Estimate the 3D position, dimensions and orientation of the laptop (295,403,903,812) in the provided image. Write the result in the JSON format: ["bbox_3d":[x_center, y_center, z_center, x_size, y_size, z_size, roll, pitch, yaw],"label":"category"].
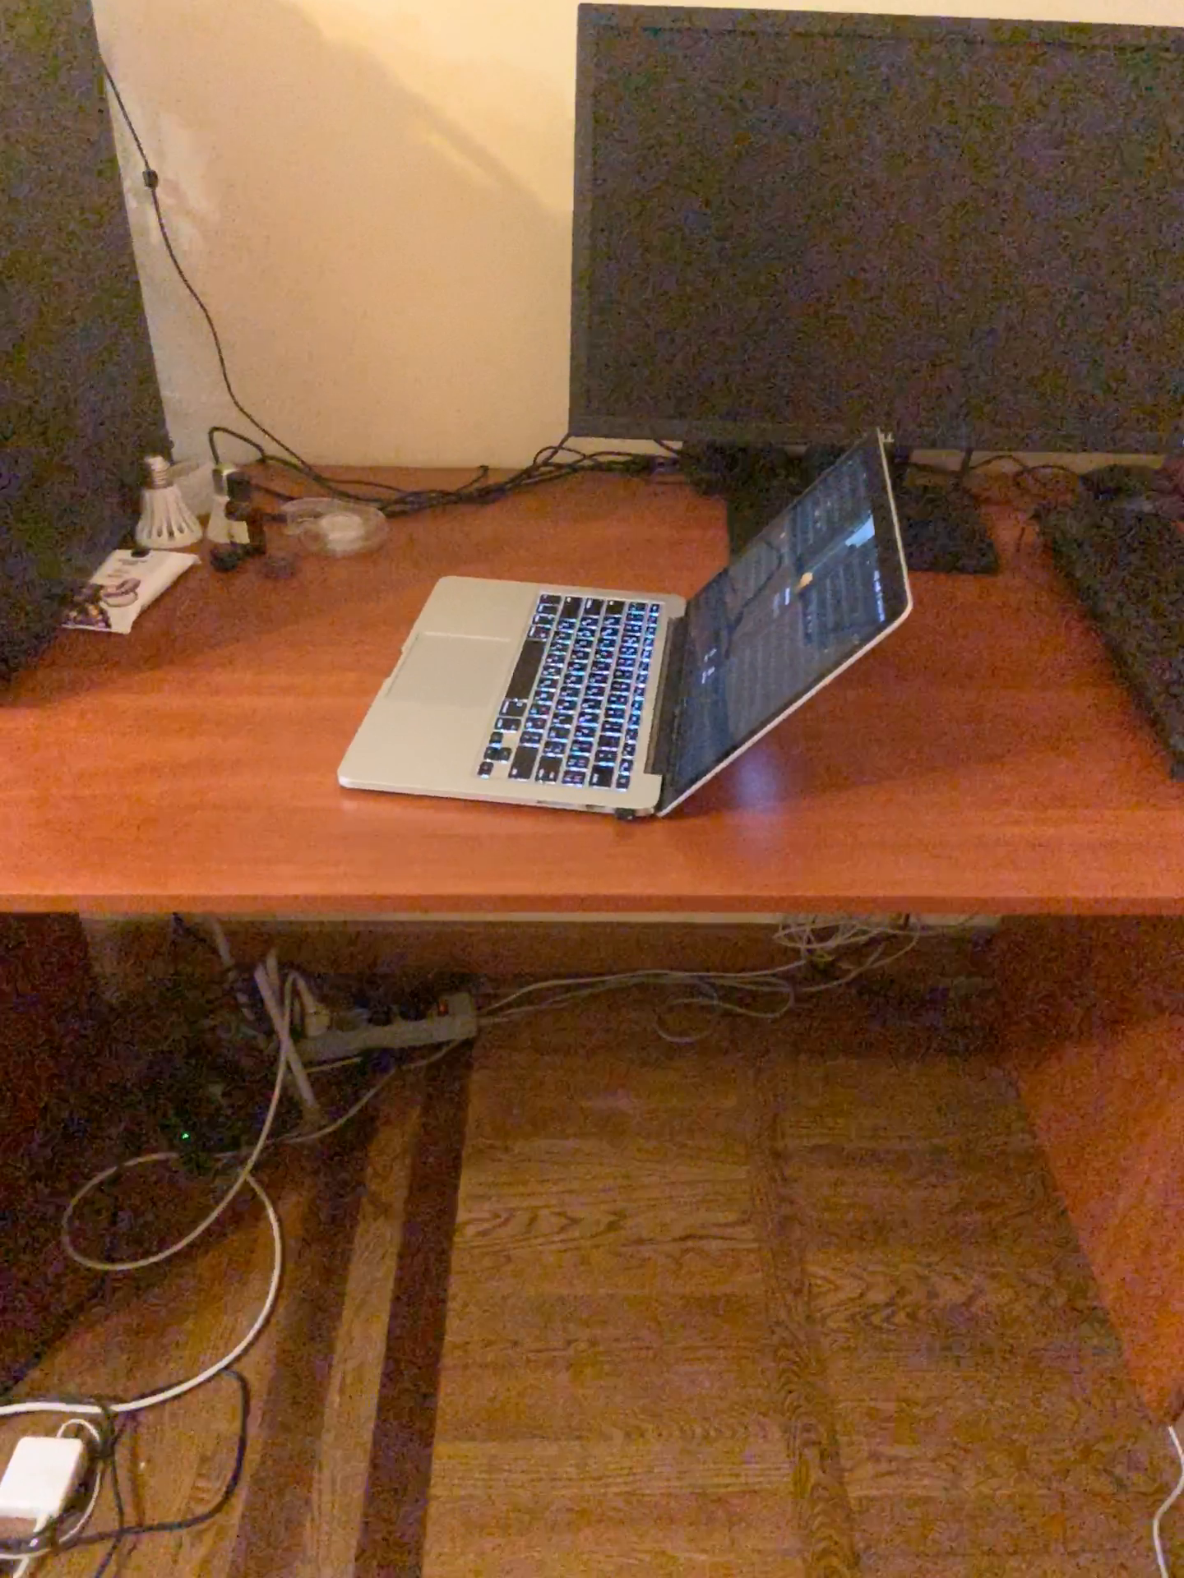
[{"bbox_3d":[0.018,-0.137,0.804,0.333,0.139,0.287,4,37,5],"label":"laptop"}]
